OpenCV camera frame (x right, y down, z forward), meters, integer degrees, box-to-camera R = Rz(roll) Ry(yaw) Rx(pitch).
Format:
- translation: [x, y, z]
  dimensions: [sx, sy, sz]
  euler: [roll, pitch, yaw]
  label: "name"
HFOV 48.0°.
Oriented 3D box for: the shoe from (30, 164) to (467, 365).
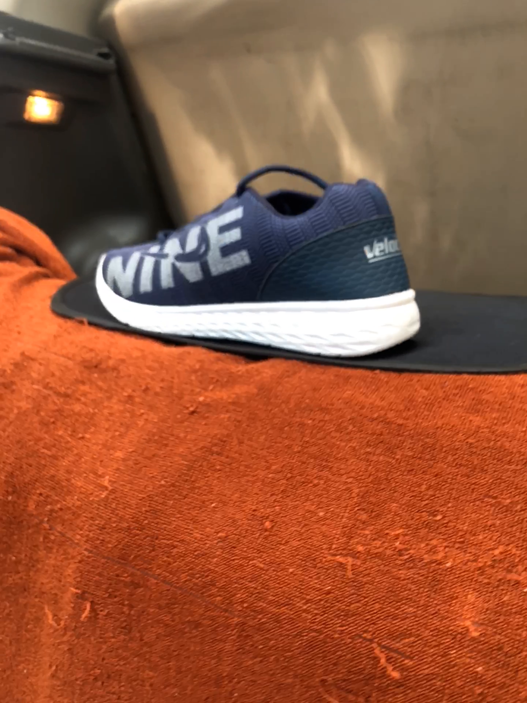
- translation: [-0.020, -0.073, 0.431]
  dimensions: [0.290, 0.100, 0.131]
  euler: [8, 17, 35]
  label: "shoe"
